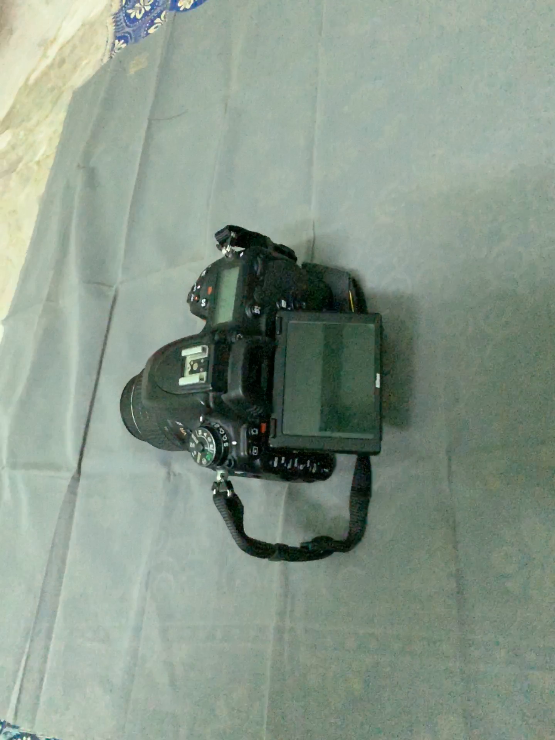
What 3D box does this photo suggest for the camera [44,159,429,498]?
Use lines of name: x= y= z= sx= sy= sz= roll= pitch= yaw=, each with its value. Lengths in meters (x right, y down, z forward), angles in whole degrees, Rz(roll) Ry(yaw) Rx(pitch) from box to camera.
camera: x=-0.028 y=-0.009 z=0.393 sx=0.231 sy=0.100 sz=0.165 roll=-11 pitch=63 yaw=31
